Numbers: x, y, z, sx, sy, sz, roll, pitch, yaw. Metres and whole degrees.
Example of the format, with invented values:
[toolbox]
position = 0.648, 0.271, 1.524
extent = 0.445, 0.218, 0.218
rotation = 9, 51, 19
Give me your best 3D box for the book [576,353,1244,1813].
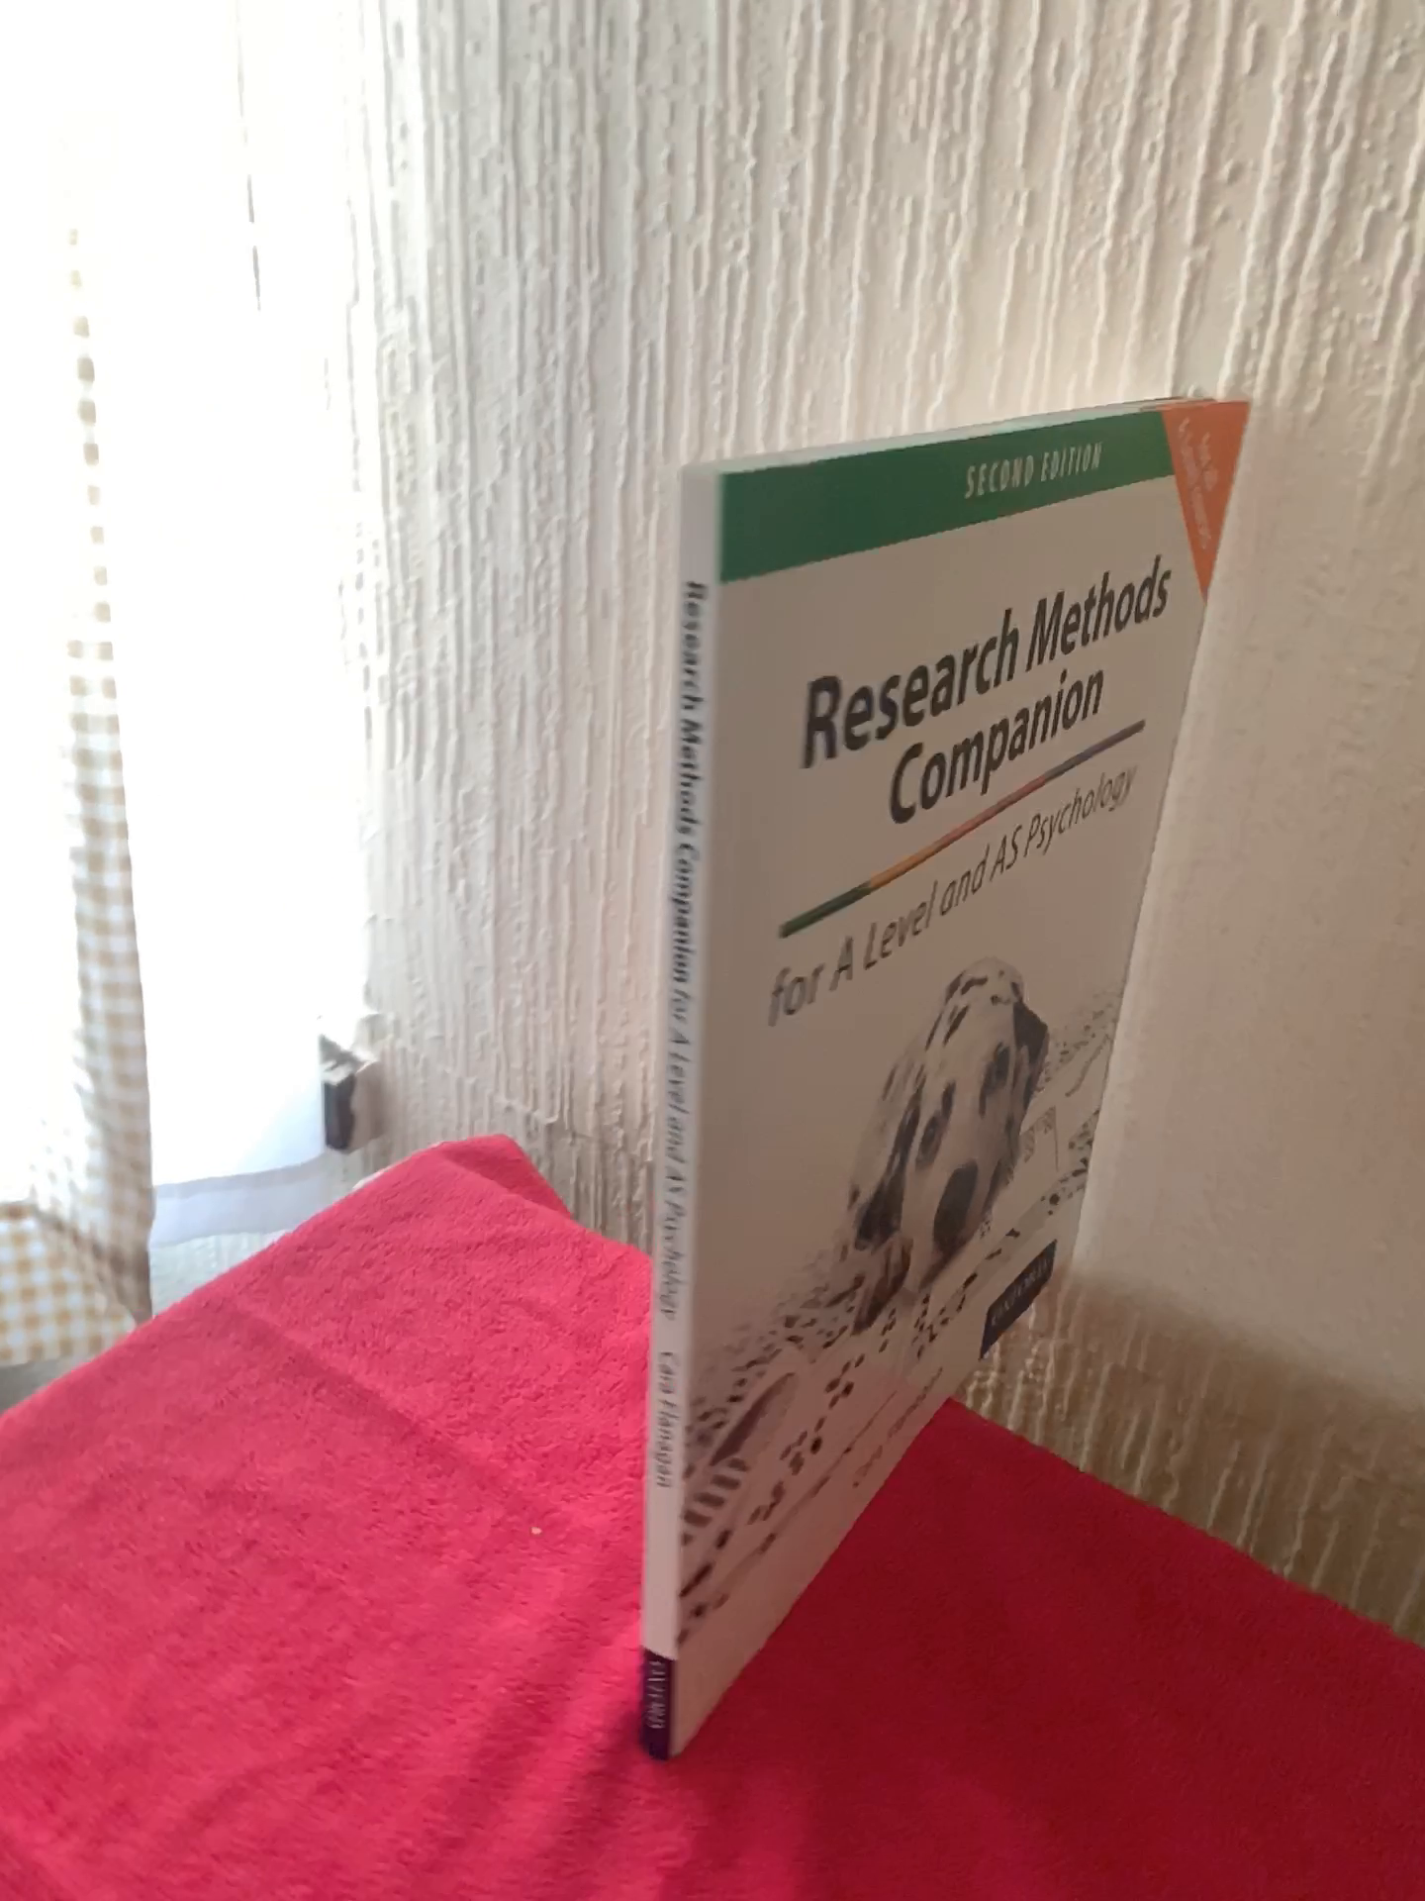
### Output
[book]
position = 0.059, 0.012, 0.361
extent = 0.020, 0.288, 0.251
rotation = 17, 28, 32
